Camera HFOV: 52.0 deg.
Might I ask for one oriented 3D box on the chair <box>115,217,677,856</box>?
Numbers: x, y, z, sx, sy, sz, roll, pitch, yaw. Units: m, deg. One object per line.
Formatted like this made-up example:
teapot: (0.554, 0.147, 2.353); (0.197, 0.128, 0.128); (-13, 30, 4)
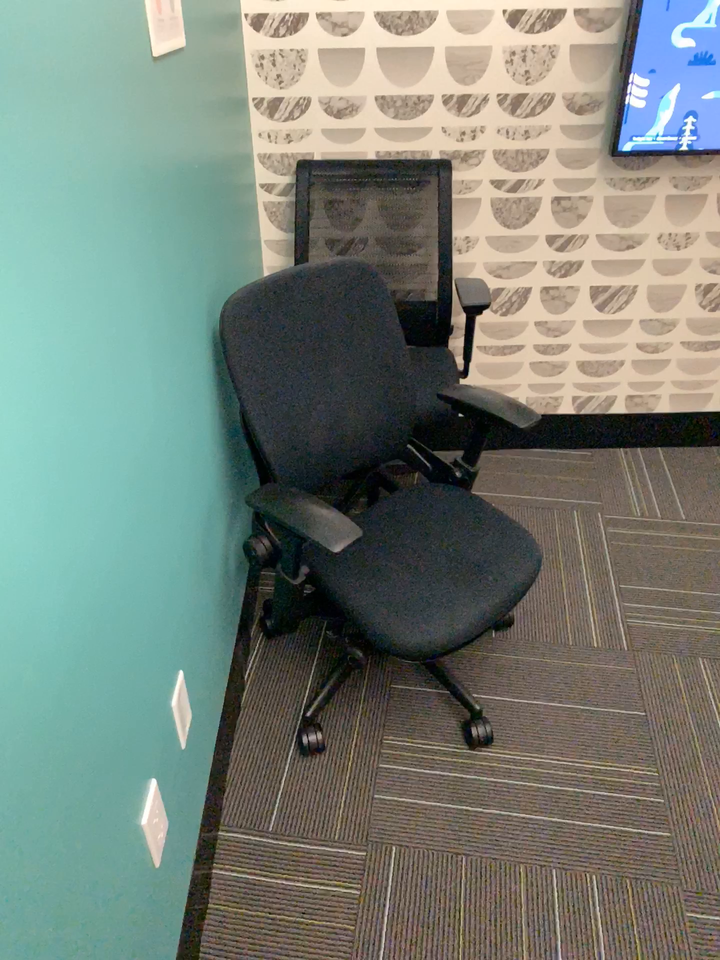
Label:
chair: (0.055, 0.052, 1.592); (0.661, 0.944, 0.773); (-28, 42, -35)
